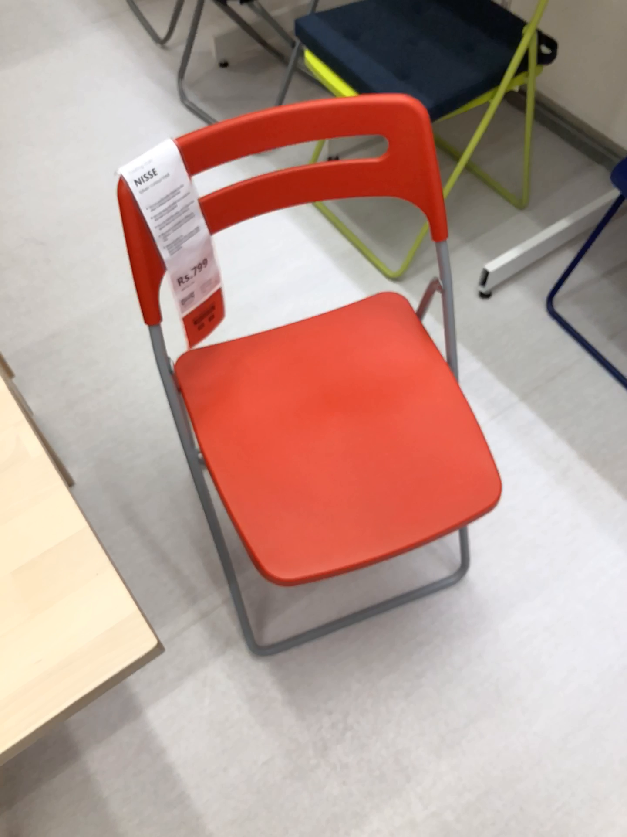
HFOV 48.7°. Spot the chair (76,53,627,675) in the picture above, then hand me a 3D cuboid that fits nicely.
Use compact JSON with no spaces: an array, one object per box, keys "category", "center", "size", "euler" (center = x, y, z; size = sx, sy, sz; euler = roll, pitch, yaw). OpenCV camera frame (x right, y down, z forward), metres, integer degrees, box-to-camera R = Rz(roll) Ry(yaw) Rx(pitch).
[{"category":"chair","center":[0.032,-0.036,0.966],"size":[0.450,0.607,0.492],"euler":[-19,59,-11]}]
